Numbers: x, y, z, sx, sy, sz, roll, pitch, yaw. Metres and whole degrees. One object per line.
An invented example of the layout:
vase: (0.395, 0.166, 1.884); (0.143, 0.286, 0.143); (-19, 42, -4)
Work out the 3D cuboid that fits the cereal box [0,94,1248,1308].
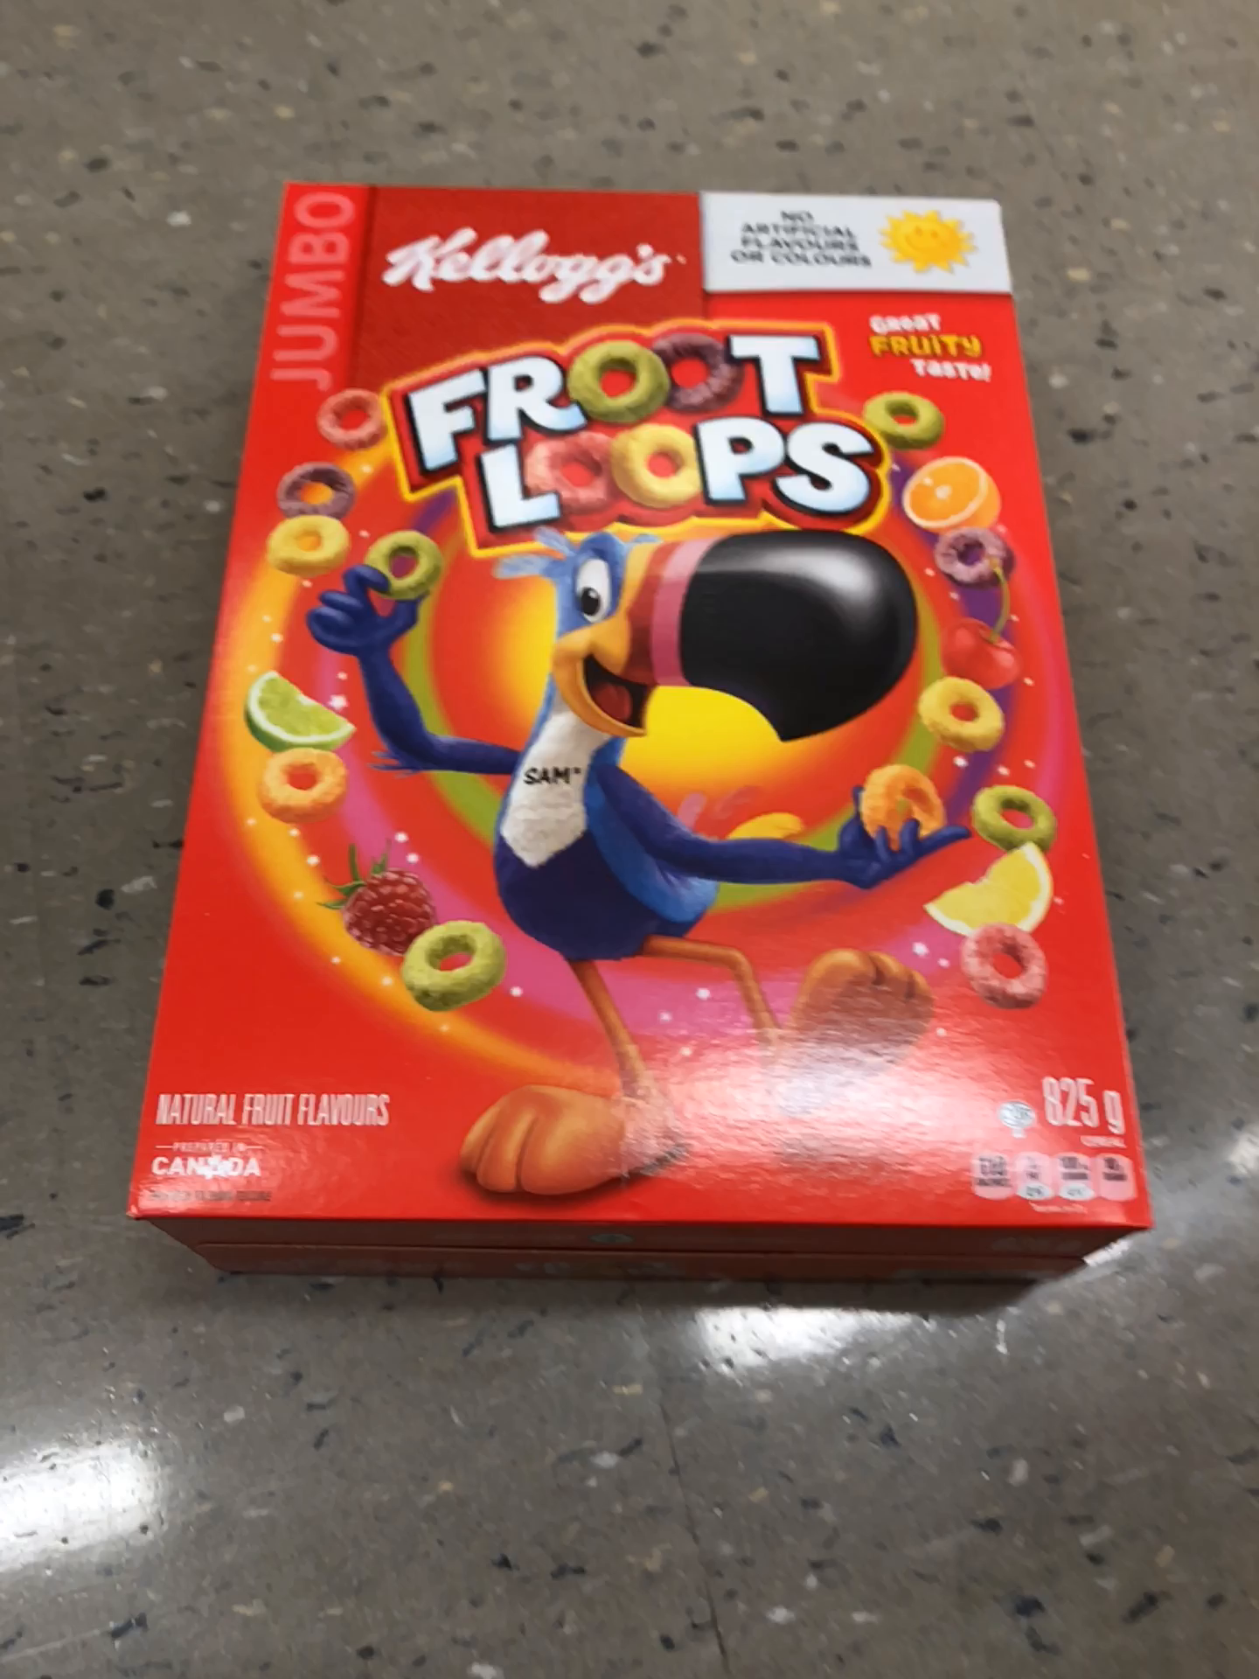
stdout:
cereal box: (-0.003, -0.059, 0.410); (0.270, 0.080, 0.361); (1, 63, -1)
